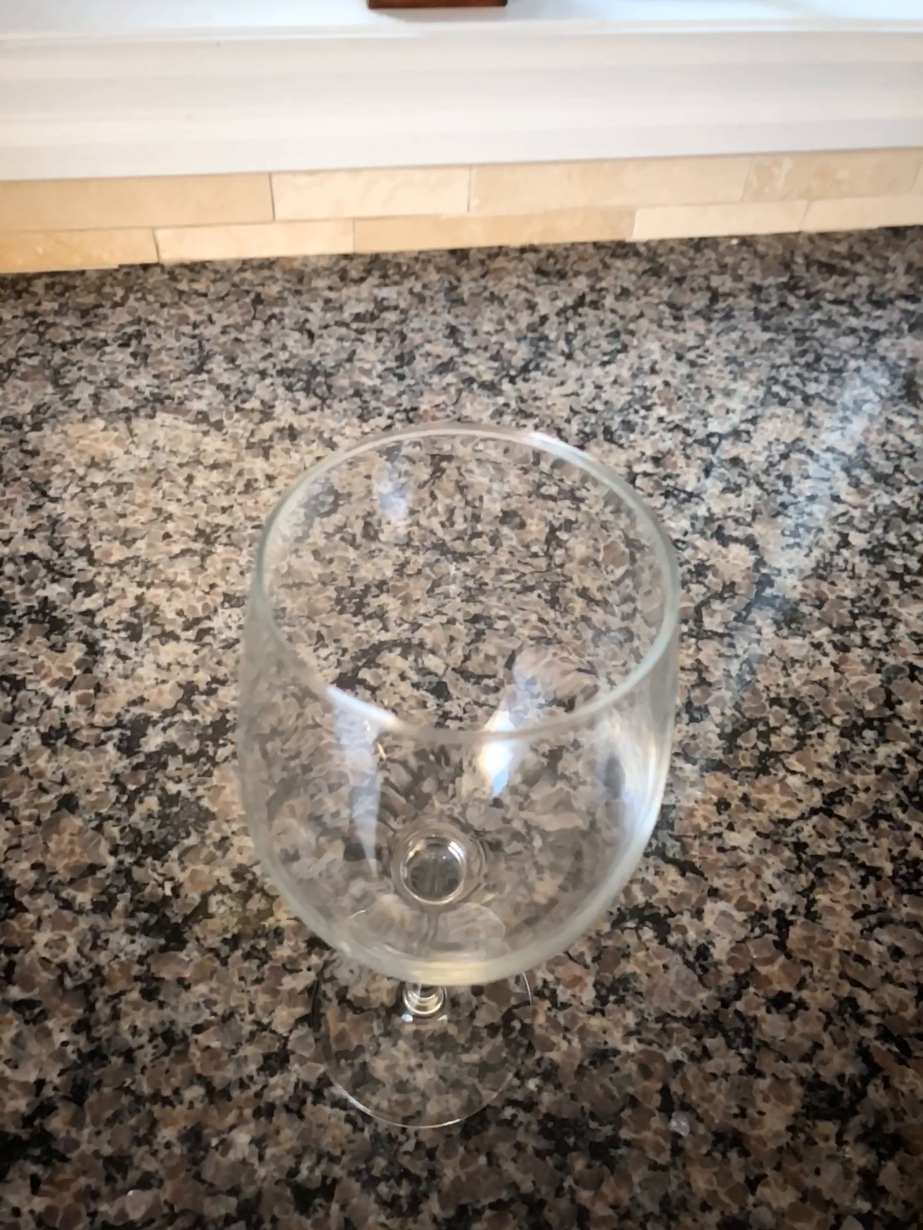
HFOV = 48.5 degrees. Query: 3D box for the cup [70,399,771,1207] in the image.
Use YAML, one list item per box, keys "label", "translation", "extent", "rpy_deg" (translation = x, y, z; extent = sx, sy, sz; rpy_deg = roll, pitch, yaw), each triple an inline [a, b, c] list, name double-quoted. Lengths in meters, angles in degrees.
- label: "cup"
  translation: [-0.014, 0.065, 0.253]
  extent: [0.095, 0.218, 0.097]
  rpy_deg: [2, 50, -2]
